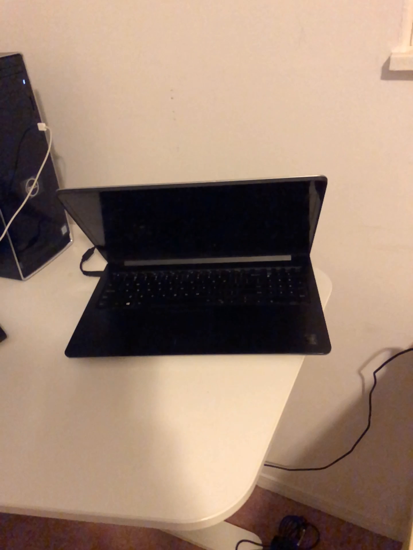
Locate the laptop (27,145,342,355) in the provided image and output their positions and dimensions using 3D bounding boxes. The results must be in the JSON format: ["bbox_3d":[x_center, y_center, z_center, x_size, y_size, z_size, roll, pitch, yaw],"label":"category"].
[{"bbox_3d":[-0.017,-0.044,0.689,0.373,0.207,0.252,-2,33,7],"label":"laptop"}]
